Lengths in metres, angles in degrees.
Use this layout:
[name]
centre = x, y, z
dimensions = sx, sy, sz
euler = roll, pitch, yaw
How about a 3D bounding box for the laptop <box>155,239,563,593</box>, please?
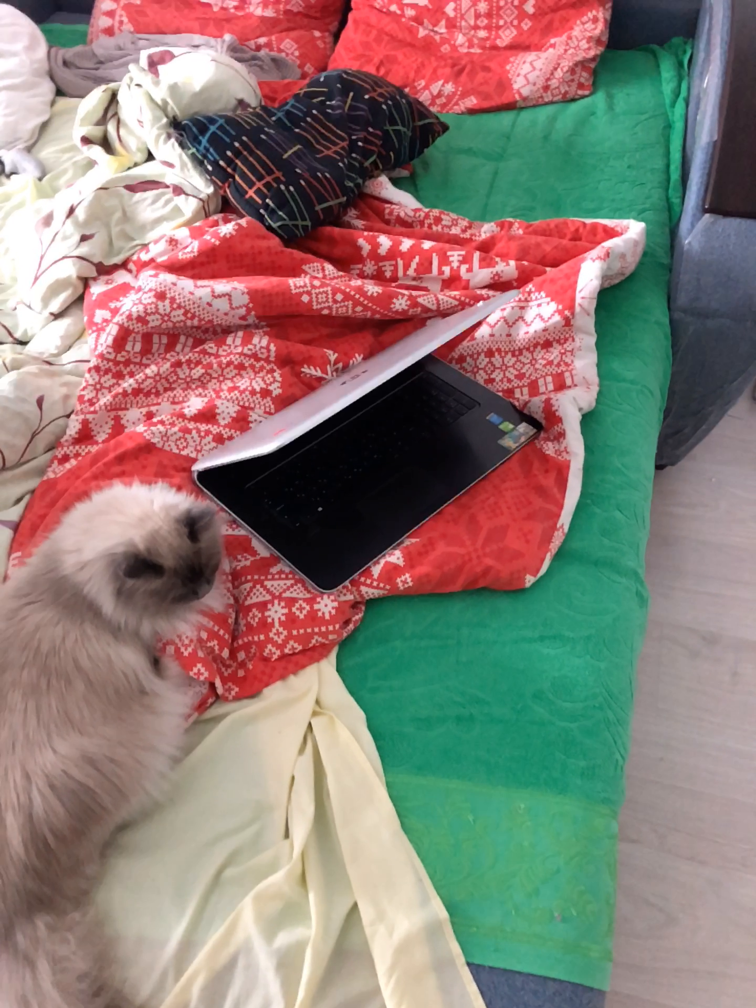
[laptop]
centre = -0.011, -0.133, 1.068
dimensions = 0.414, 0.176, 0.277
euler = -36, 58, -27
